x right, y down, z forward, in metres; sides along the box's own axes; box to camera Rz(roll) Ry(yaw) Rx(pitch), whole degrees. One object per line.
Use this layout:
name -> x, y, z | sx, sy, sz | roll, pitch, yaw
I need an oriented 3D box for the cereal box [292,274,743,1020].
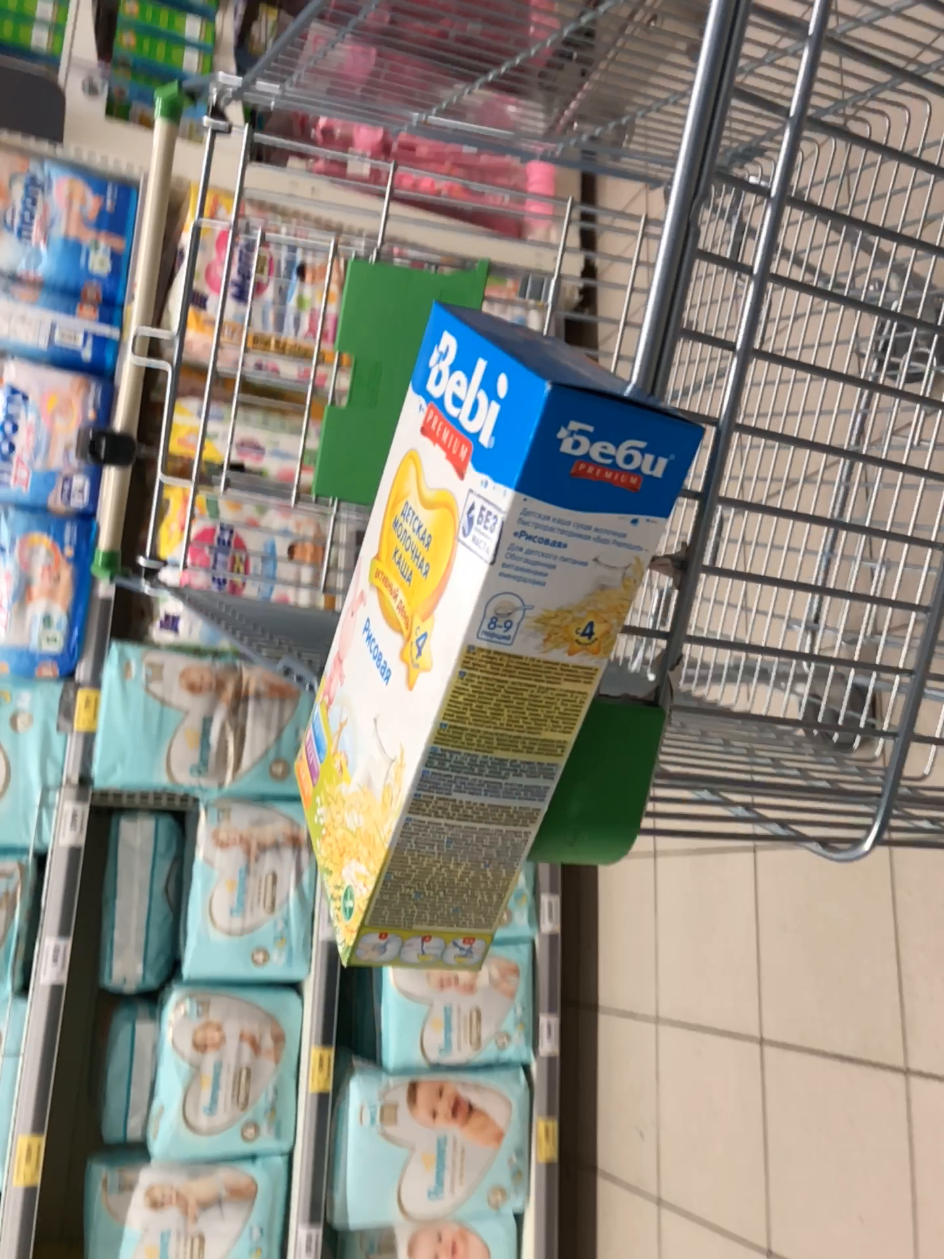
cereal box -> -0.005, 0.000, 0.363 | 0.151, 0.050, 0.210 | -117, 43, -59
